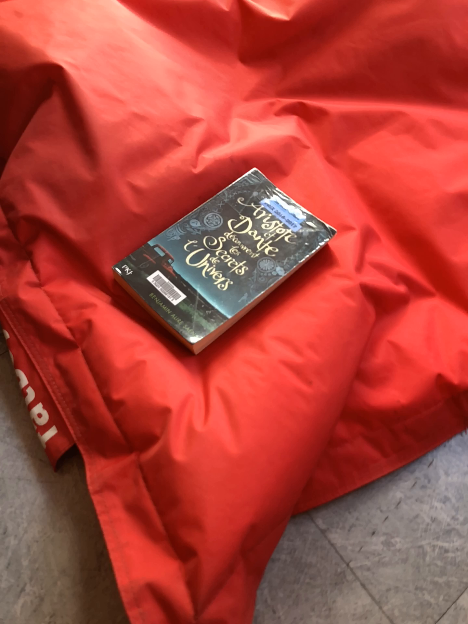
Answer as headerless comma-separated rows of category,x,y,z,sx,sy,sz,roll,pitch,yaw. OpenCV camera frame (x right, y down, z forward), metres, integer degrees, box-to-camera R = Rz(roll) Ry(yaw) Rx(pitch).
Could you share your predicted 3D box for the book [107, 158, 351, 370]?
book,-0.003,-0.065,0.584,0.229,0.048,0.148,-39,65,-20
